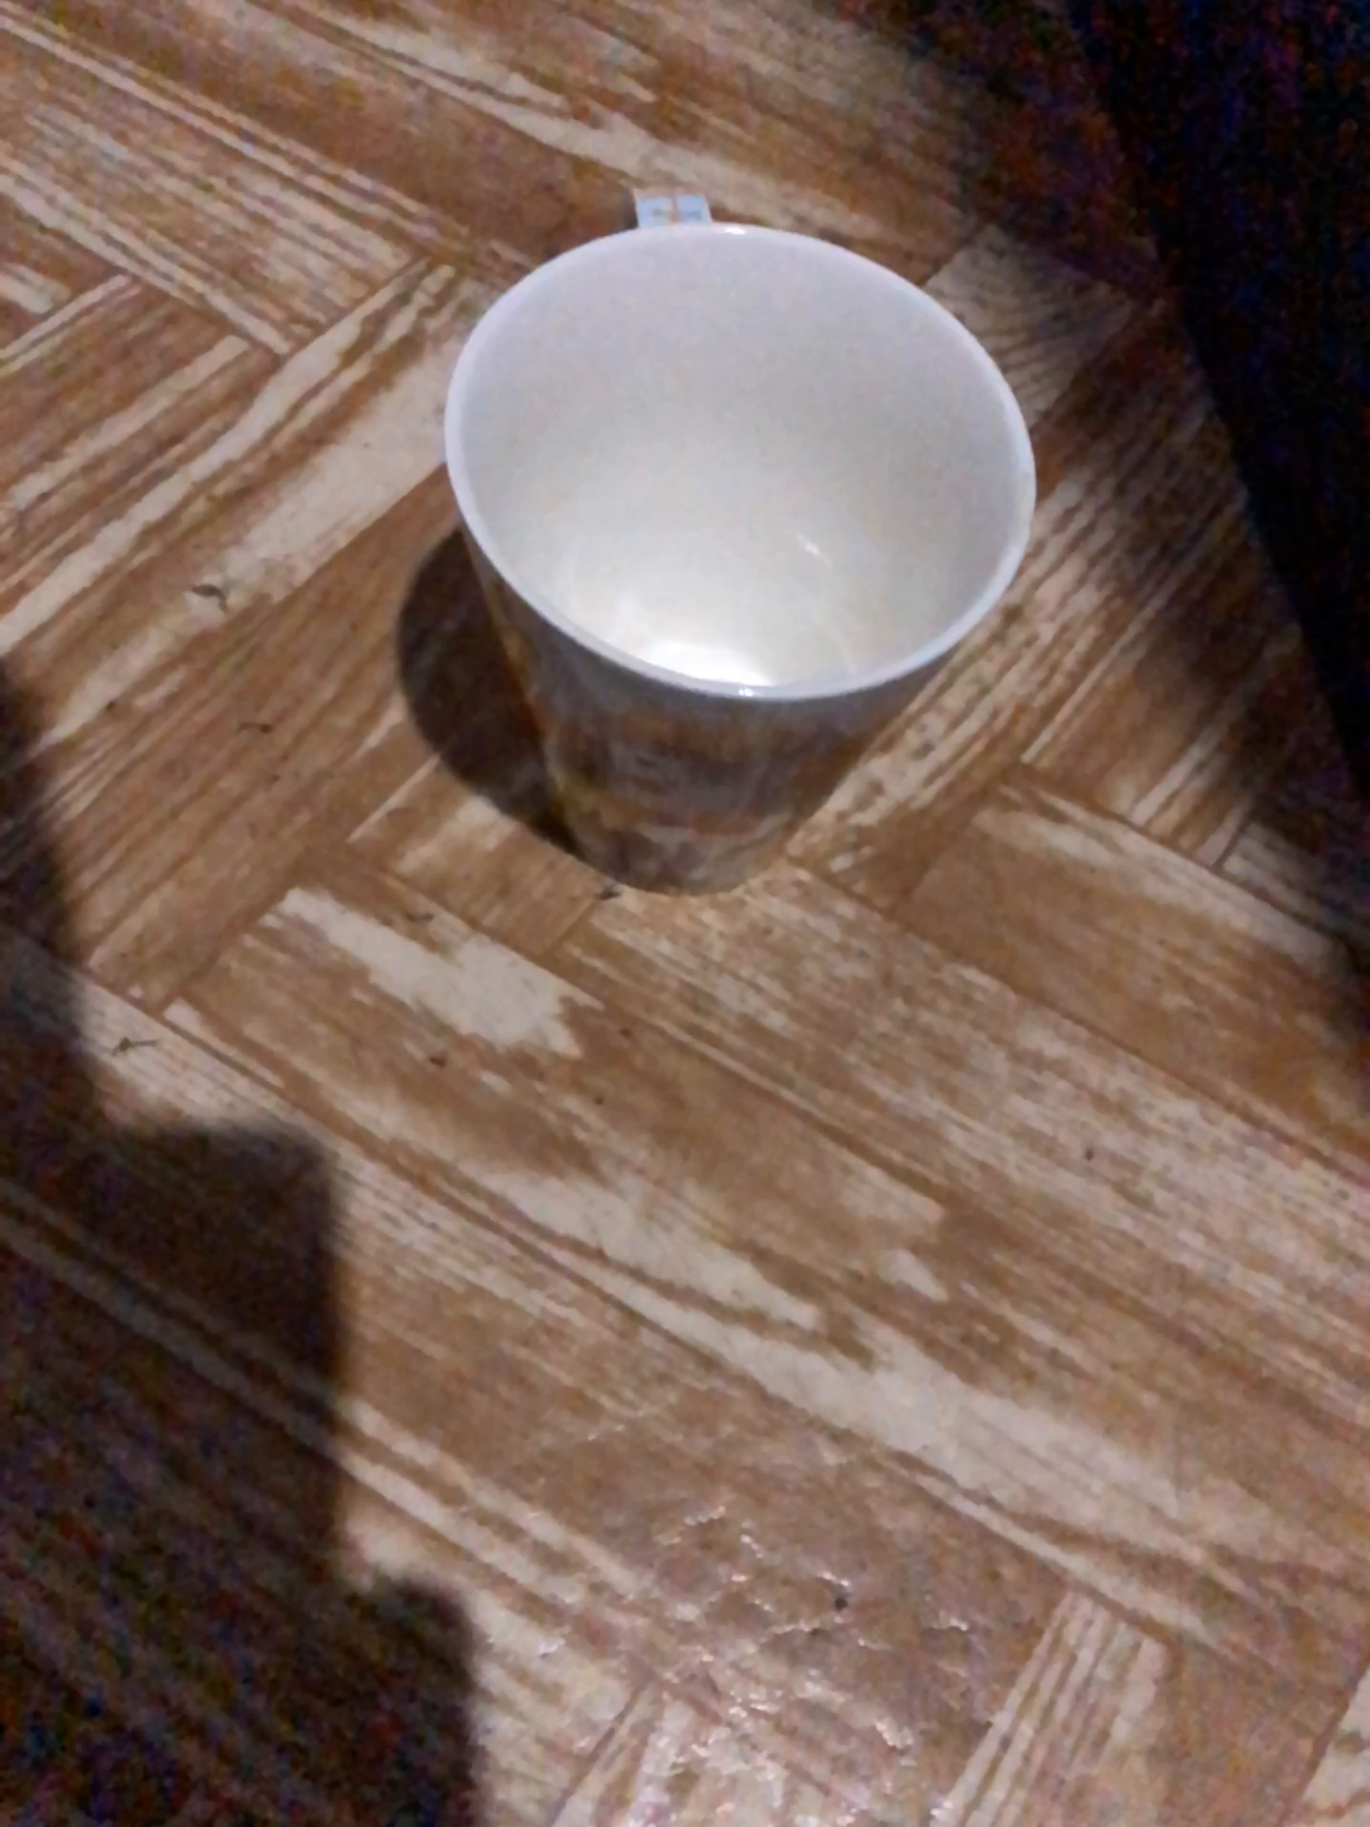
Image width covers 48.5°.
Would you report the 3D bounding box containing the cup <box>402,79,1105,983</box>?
[{"bbox_3d":[0.002,-0.065,0.272,0.087,0.092,0.120,-6,67,-9],"label":"cup"}]
